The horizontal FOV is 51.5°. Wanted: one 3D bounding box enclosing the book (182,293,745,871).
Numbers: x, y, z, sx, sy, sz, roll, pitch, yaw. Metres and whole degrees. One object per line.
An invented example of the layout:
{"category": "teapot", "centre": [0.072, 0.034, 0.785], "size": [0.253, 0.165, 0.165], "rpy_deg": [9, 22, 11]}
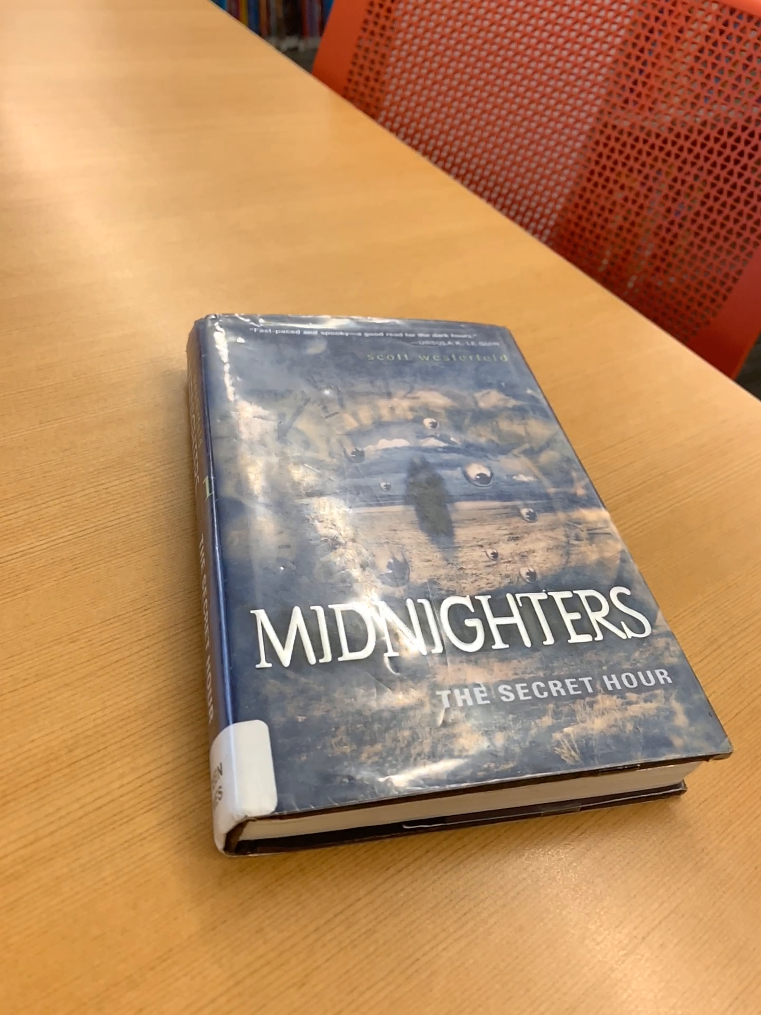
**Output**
{"category": "book", "centre": [0.008, 0.003, 0.291], "size": [0.151, 0.036, 0.221], "rpy_deg": [-1, 48, -15]}
